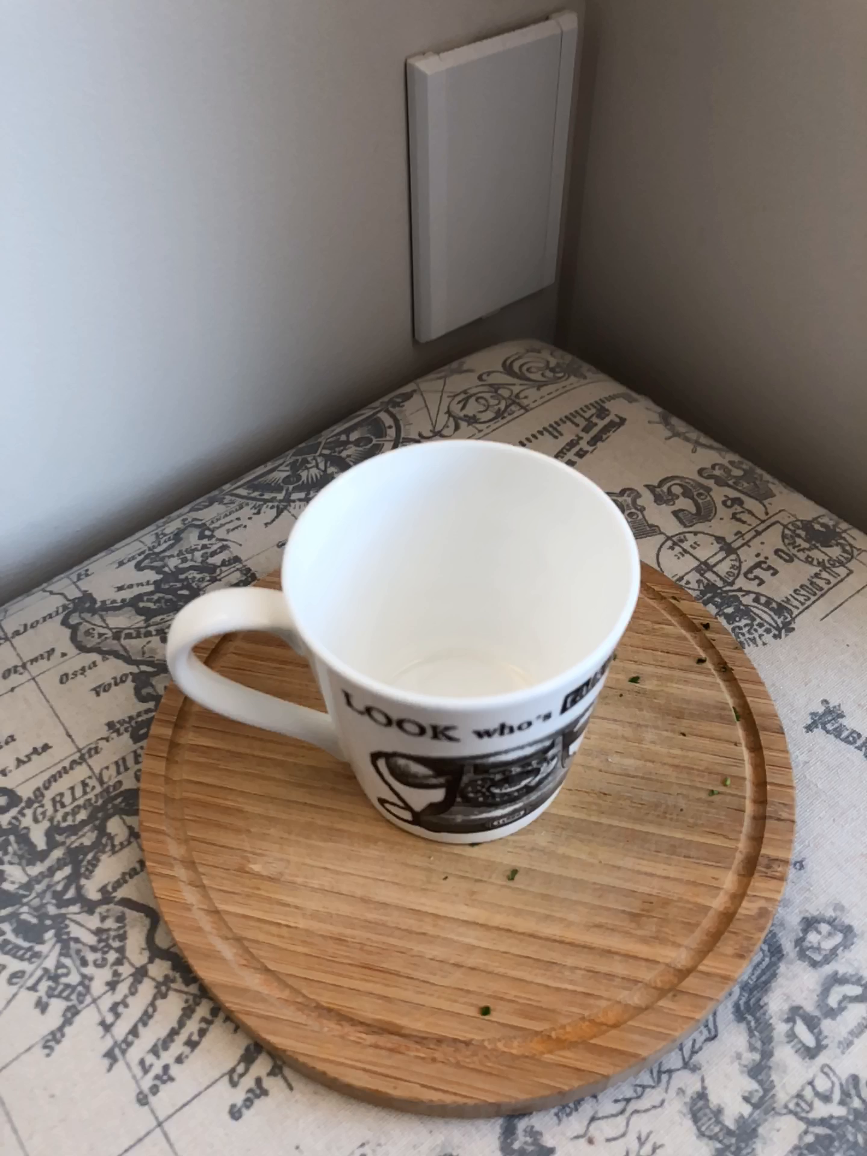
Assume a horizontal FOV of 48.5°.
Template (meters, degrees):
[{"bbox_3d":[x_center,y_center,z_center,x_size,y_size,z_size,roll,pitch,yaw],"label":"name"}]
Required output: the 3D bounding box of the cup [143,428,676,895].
[{"bbox_3d":[-0.004,0.023,0.262,0.111,0.086,0.091,1,47,1],"label":"cup"}]
